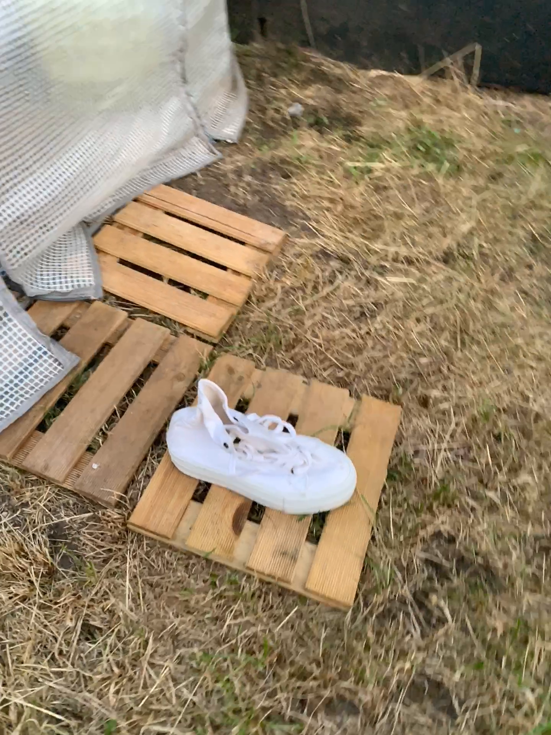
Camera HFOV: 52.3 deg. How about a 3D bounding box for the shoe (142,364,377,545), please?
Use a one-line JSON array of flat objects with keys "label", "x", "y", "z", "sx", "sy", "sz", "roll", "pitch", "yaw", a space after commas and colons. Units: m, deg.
[{"label": "shoe", "x": -0.018, "y": 0.108, "z": 0.713, "sx": 0.260, "sy": 0.129, "sz": 0.101, "roll": 16, "pitch": 52, "yaw": 15}]
